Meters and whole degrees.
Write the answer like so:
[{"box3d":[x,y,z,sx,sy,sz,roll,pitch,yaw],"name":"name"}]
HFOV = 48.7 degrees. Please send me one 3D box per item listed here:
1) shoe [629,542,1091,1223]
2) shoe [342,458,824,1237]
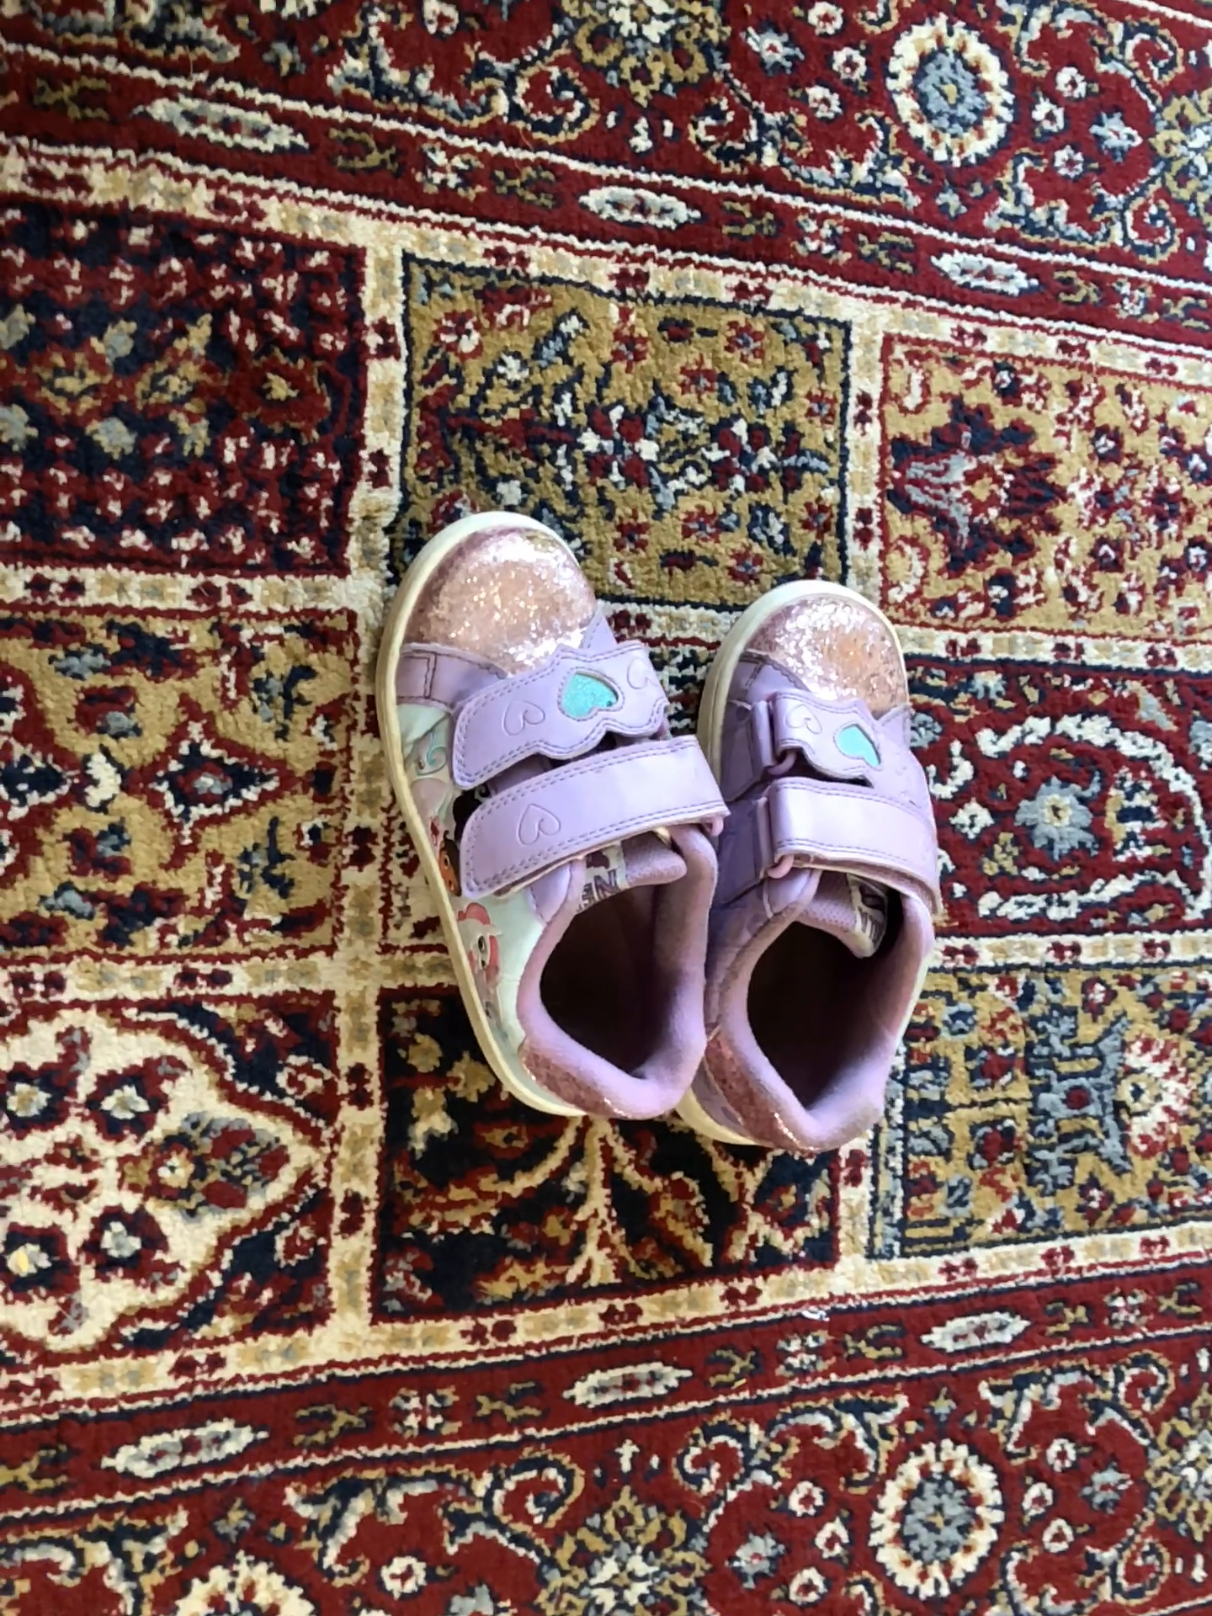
[{"box3d":[0.084,0.026,0.458,0.100,0.090,0.200,9,86,-20],"name":"shoe"},{"box3d":[-0.011,0.009,0.426,0.090,0.090,0.208,-12,93,-20],"name":"shoe"}]
